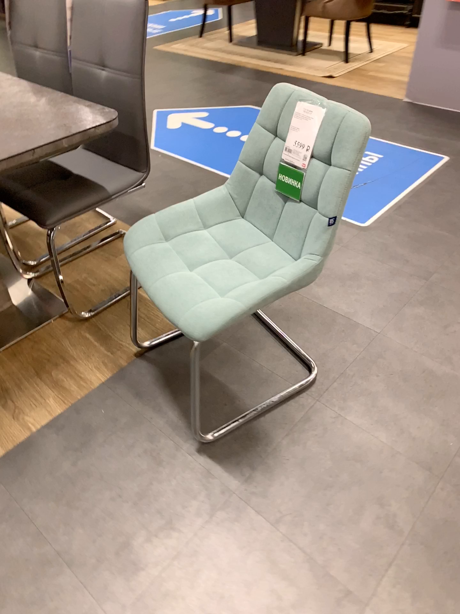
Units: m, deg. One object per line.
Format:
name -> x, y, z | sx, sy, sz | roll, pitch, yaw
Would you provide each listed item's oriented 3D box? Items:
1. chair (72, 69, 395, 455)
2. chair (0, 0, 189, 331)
chair -> 0.002, -0.131, 1.345 | 0.551, 0.825, 0.512 | -24, 45, -23
chair -> -0.578, -0.540, 1.723 | 0.571, 1.004, 0.512 | -34, 50, -31
